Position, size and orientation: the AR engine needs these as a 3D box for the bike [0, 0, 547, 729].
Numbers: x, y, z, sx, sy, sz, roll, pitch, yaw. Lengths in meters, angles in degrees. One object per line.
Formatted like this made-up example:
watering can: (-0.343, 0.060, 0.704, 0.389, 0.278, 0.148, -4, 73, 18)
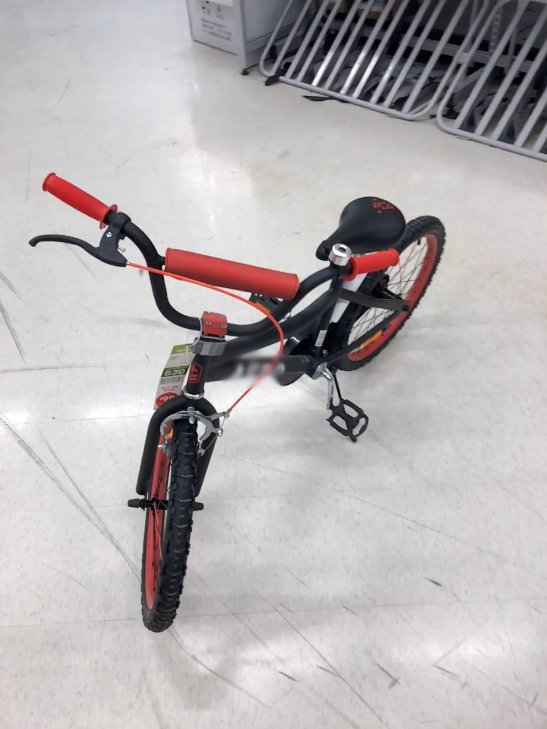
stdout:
bike: (0.131, -0.083, 1.259, 0.626, 0.924, 1.251, 24, 54, 25)
